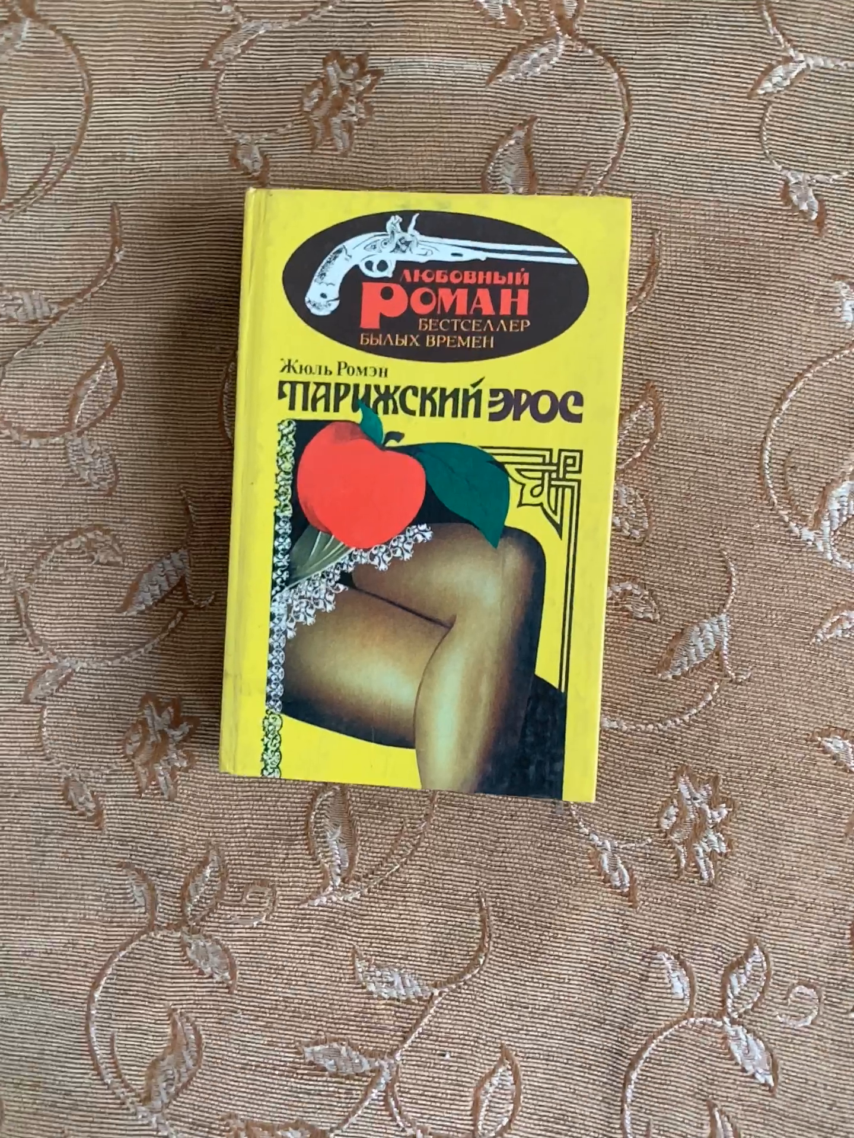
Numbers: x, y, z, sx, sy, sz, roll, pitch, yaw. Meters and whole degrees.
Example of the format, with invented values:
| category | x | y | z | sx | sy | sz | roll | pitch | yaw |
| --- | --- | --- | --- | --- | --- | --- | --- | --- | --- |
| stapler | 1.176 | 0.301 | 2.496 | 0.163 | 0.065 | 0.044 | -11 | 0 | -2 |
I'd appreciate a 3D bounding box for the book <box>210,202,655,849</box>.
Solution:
| category | x | y | z | sx | sy | sz | roll | pitch | yaw |
| --- | --- | --- | --- | --- | --- | --- | --- | --- | --- |
| book | 0.001 | -0.014 | 0.294 | 0.130 | 0.040 | 0.196 | 3 | 92 | 4 |
